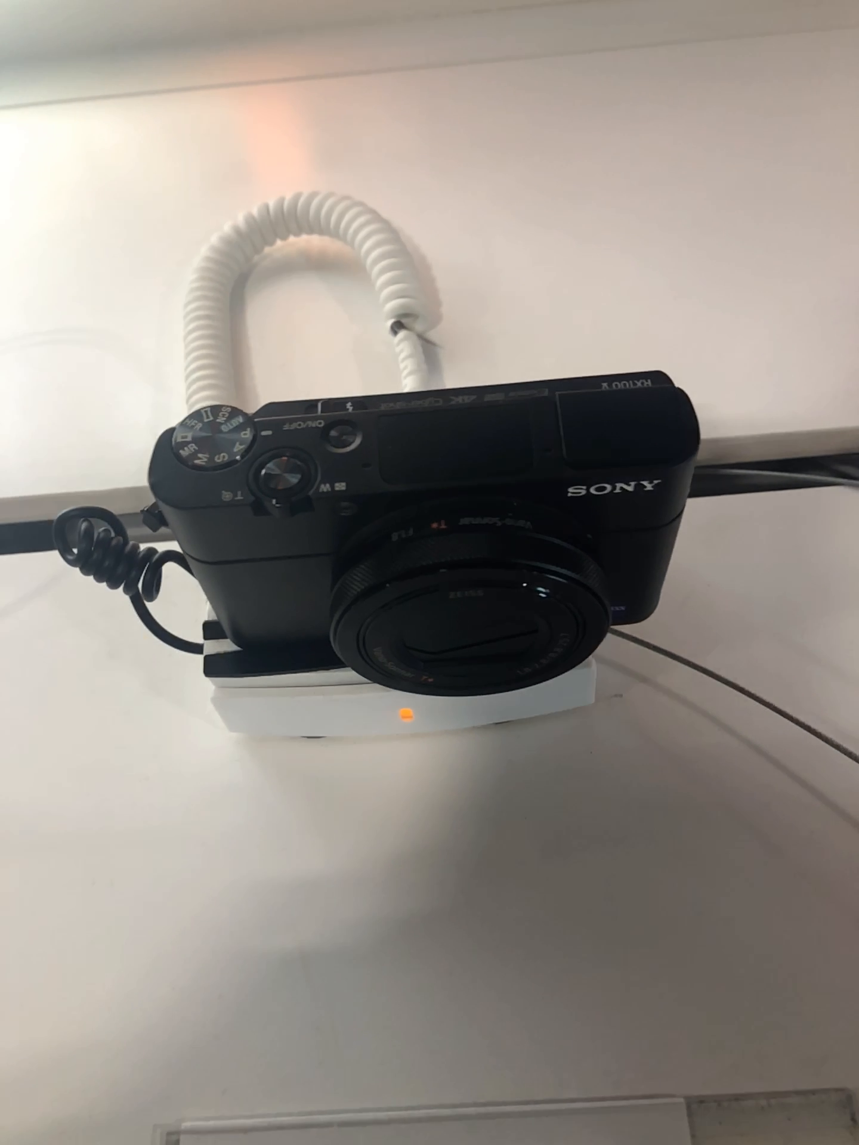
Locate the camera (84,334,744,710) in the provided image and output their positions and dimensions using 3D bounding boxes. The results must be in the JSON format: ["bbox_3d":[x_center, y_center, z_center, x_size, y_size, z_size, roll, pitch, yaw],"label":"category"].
[{"bbox_3d":[-0.001,-0.006,0.180,0.101,0.063,0.032,-4,57,3],"label":"camera"}]
